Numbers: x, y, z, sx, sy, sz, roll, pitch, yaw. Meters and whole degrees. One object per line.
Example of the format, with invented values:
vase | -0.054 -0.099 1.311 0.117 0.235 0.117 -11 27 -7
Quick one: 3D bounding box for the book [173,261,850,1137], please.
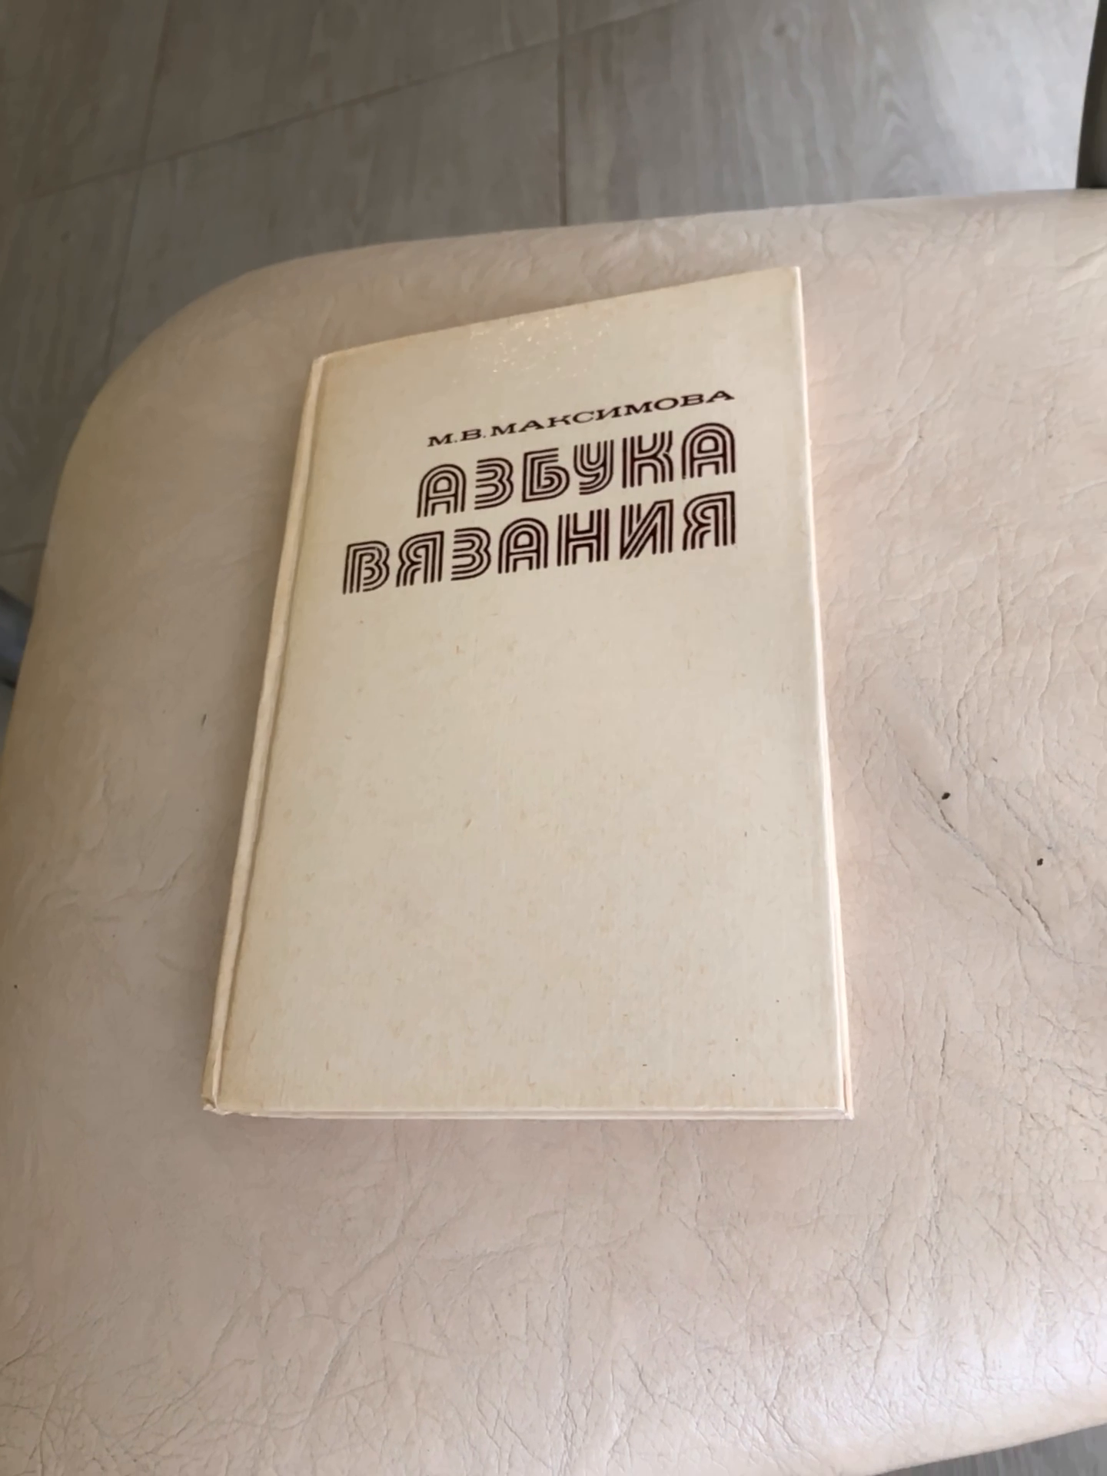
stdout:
book | -0.007 -0.015 0.312 0.148 0.024 0.218 -5 65 18
